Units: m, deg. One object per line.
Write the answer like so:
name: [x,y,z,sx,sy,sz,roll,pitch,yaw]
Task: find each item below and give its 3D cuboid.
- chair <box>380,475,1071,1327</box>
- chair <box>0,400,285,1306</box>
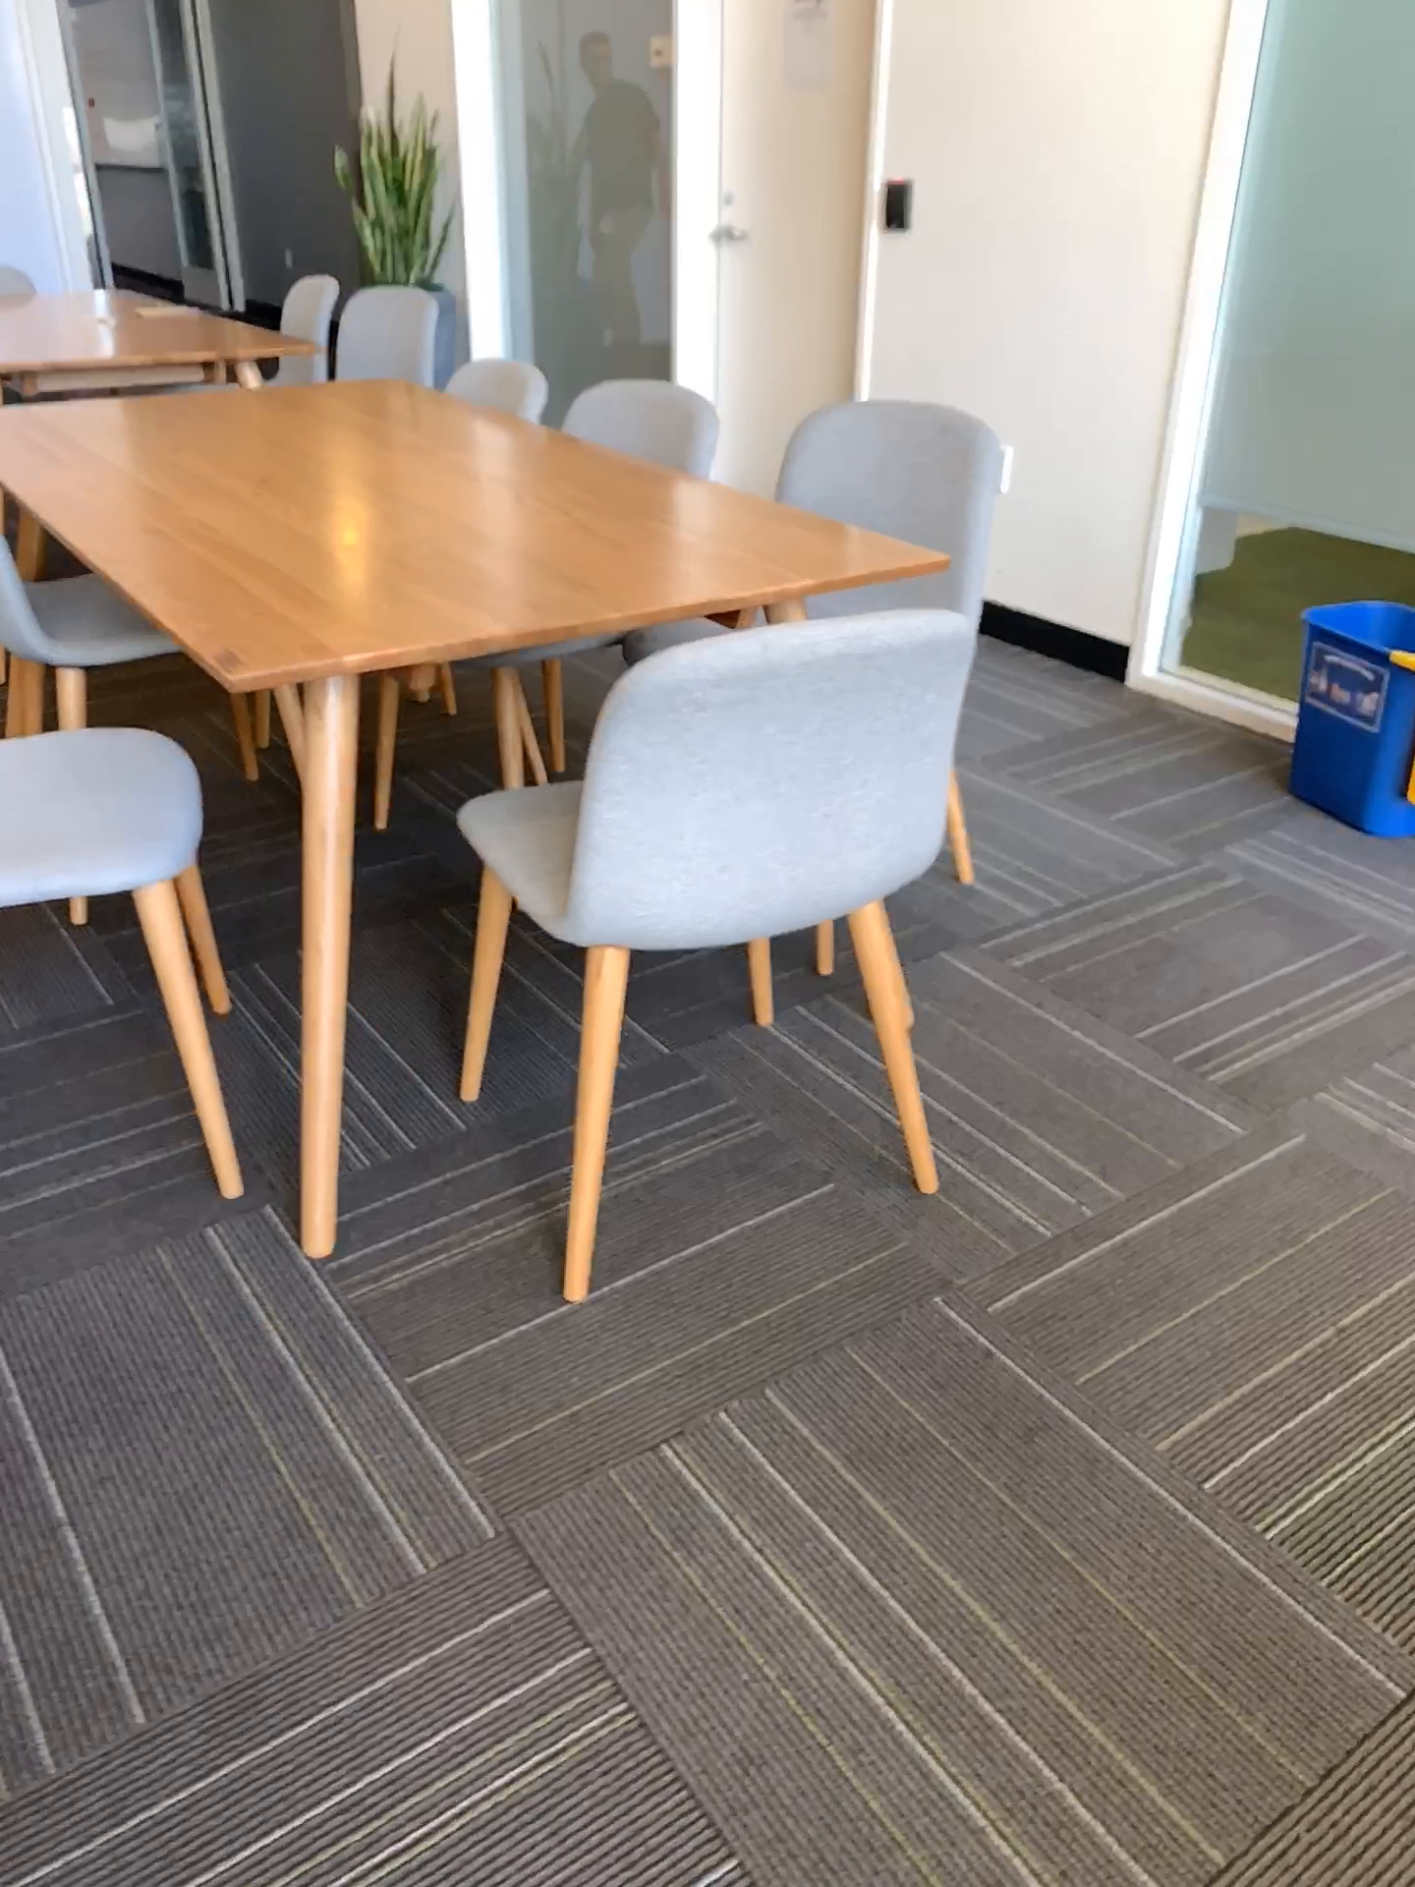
chair: [-0.010,-0.091,1.746,0.560,0.775,0.533,-12,31,-23]
chair: [-0.925,-0.179,1.818,0.630,0.815,0.765,-8,30,-16]
